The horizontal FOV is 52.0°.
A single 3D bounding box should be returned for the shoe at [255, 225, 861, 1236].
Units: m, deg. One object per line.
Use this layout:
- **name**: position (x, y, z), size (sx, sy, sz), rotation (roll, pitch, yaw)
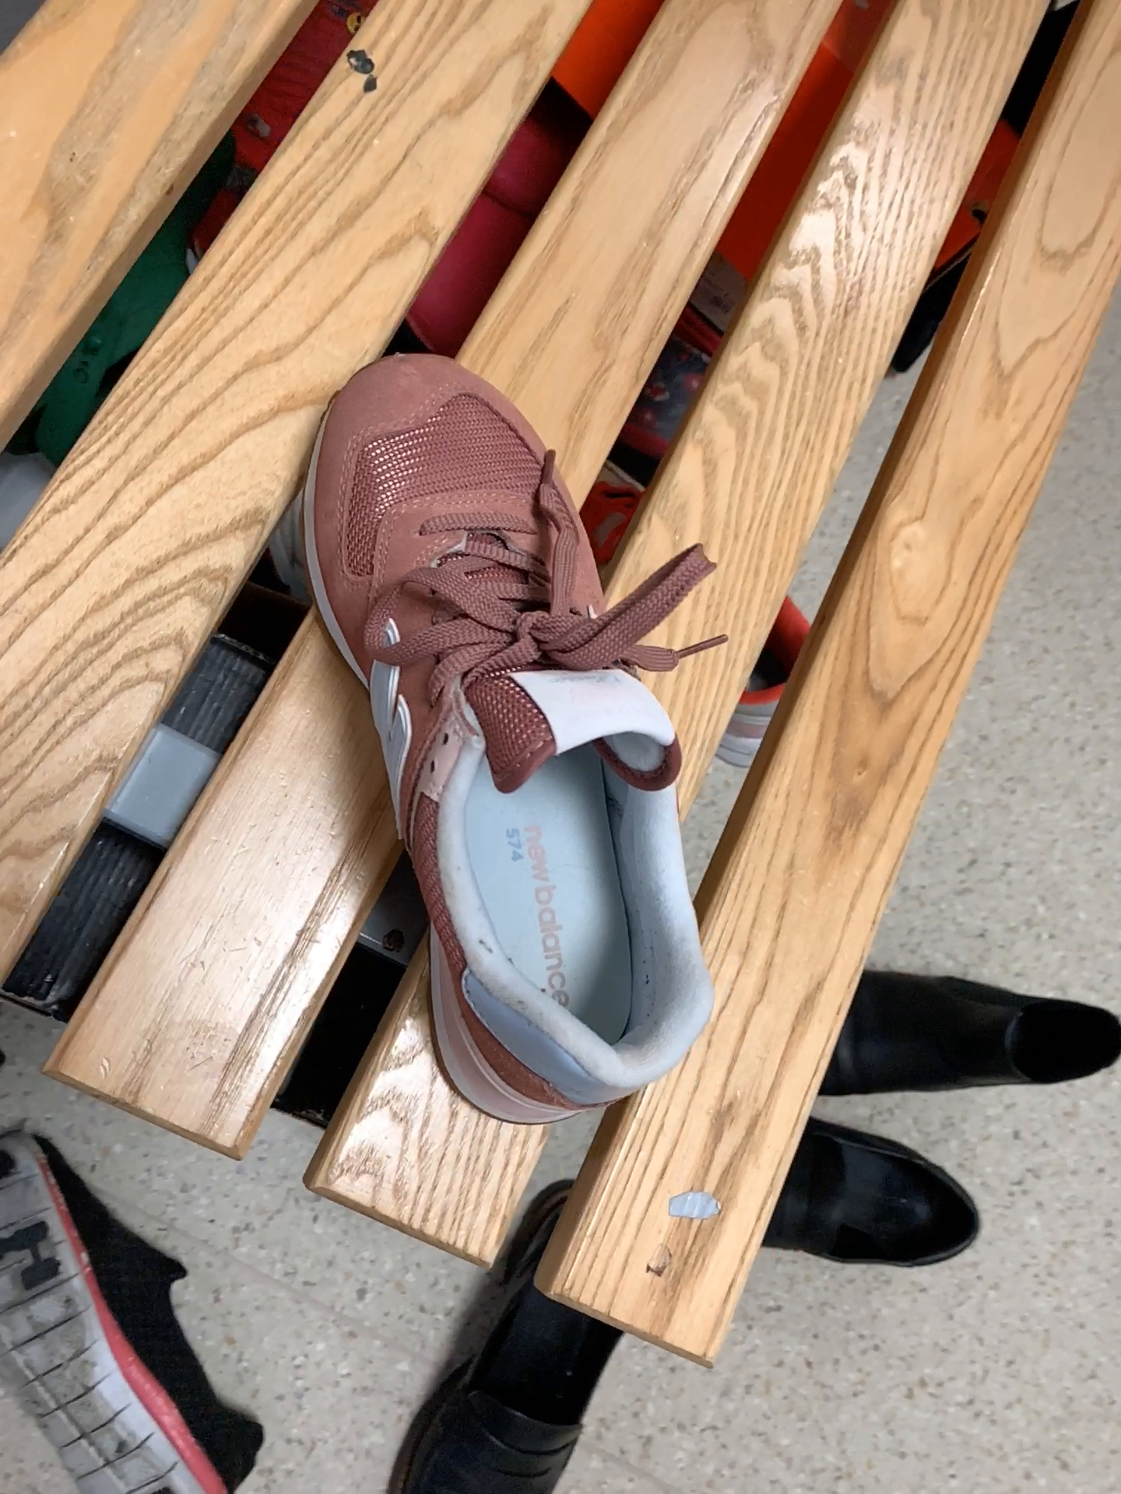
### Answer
- **shoe**: position (-0.012, -0.010, 0.357), size (0.110, 0.105, 0.259), rotation (-10, 84, -19)
